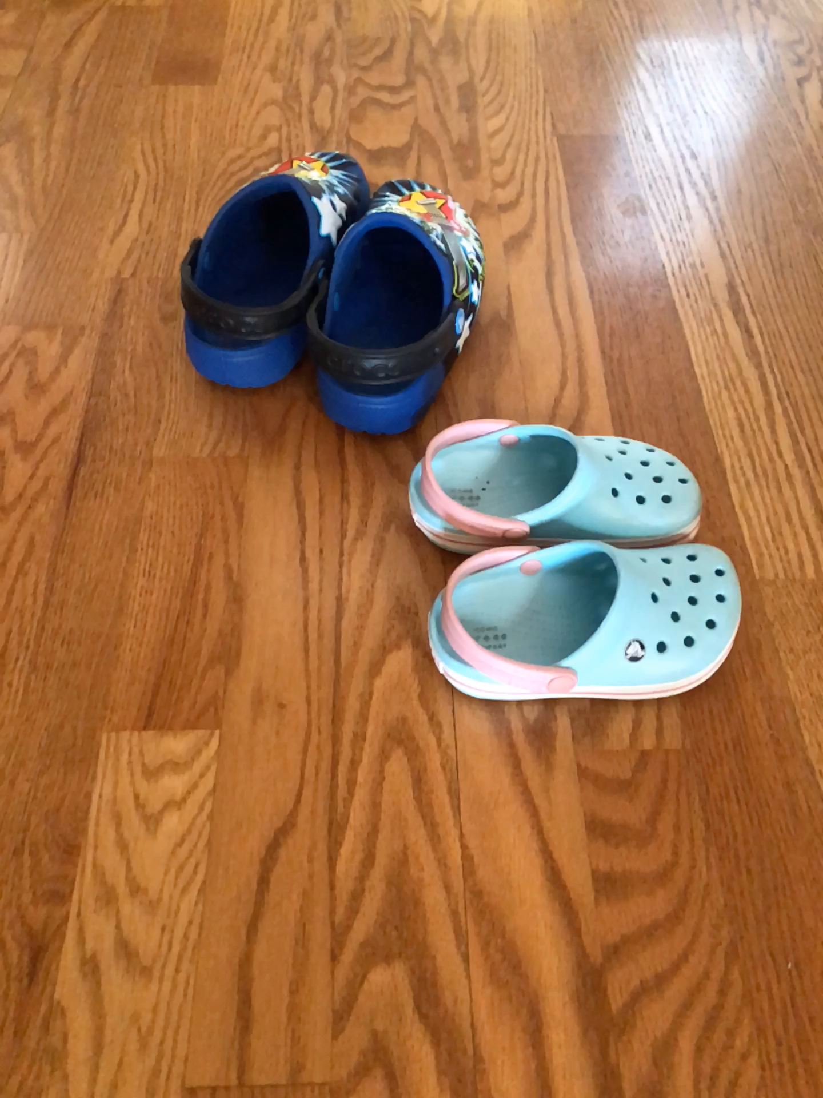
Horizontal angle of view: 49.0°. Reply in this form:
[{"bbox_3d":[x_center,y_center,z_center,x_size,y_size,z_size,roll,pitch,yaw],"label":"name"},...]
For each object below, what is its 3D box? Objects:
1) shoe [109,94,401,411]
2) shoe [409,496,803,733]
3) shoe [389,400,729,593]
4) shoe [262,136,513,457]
[{"bbox_3d":[-0.091,-0.207,0.607,0.110,0.070,0.231,13,54,9],"label":"shoe"},{"bbox_3d":[0.088,0.031,0.452,0.170,0.050,0.090,-5,53,-4],"label":"shoe"},{"bbox_3d":[0.075,-0.030,0.499,0.170,0.050,0.090,2,53,1],"label":"shoe"},{"bbox_3d":[-0.007,-0.172,0.588,0.110,0.070,0.221,10,54,7],"label":"shoe"}]
